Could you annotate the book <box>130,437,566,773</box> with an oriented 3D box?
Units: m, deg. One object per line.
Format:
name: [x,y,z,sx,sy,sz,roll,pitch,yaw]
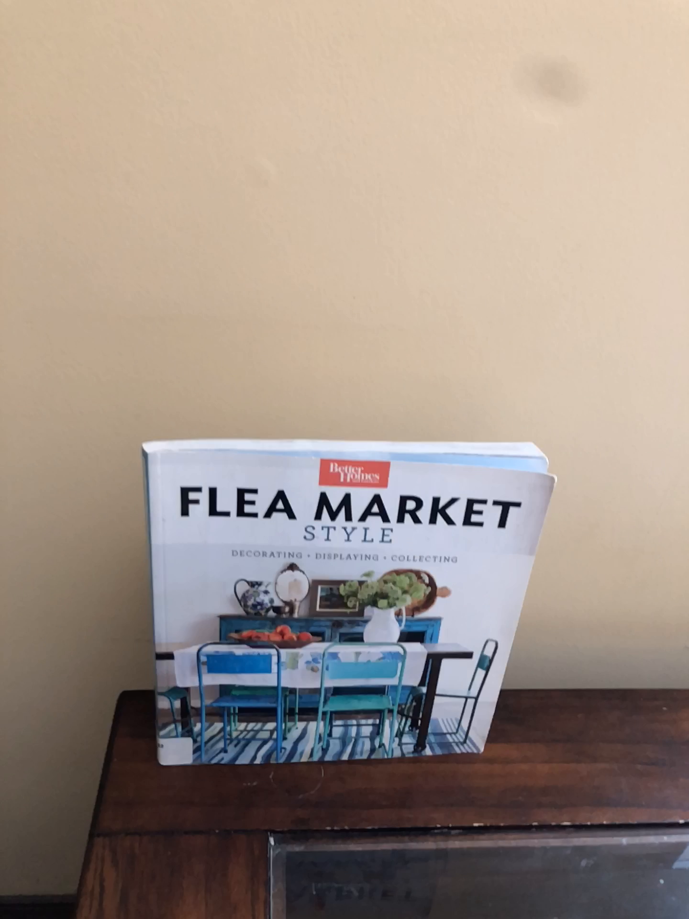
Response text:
book: [-0.005,0.099,0.477,0.233,0.239,0.032,0,31,-9]
